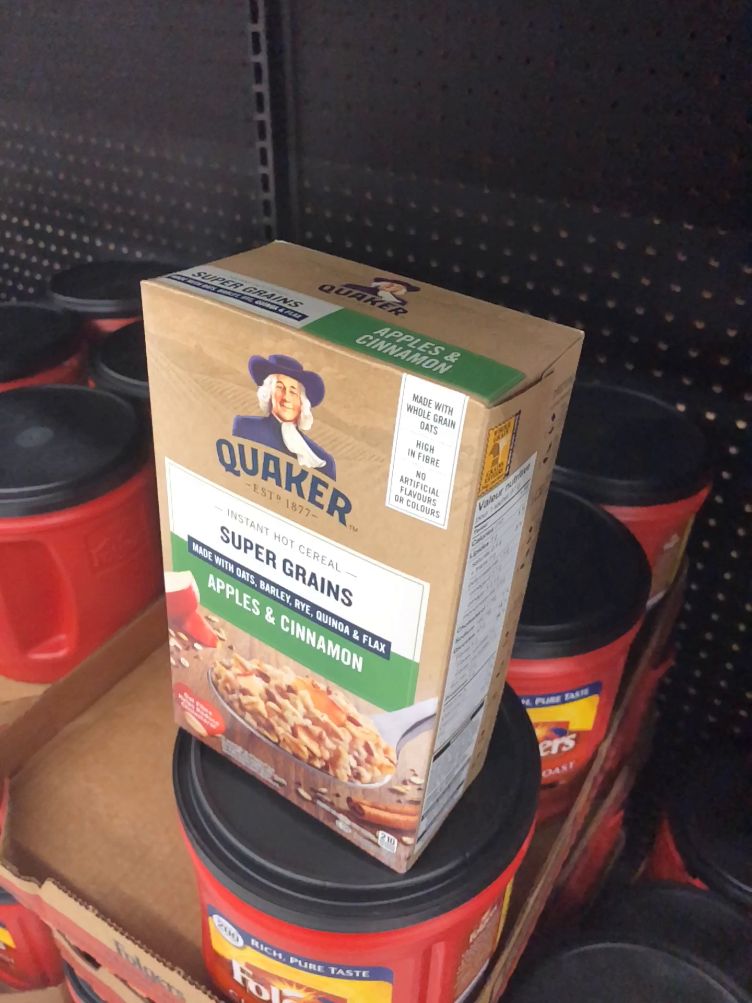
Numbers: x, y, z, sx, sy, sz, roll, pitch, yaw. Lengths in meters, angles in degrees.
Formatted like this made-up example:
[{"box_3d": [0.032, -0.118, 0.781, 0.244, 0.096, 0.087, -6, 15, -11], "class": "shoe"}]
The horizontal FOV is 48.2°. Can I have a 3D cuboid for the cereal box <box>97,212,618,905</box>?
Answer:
[{"box_3d": [-0.014, 0.020, 0.294, 0.140, 0.199, 0.060, 24, 39, 28], "class": "cereal box"}]
